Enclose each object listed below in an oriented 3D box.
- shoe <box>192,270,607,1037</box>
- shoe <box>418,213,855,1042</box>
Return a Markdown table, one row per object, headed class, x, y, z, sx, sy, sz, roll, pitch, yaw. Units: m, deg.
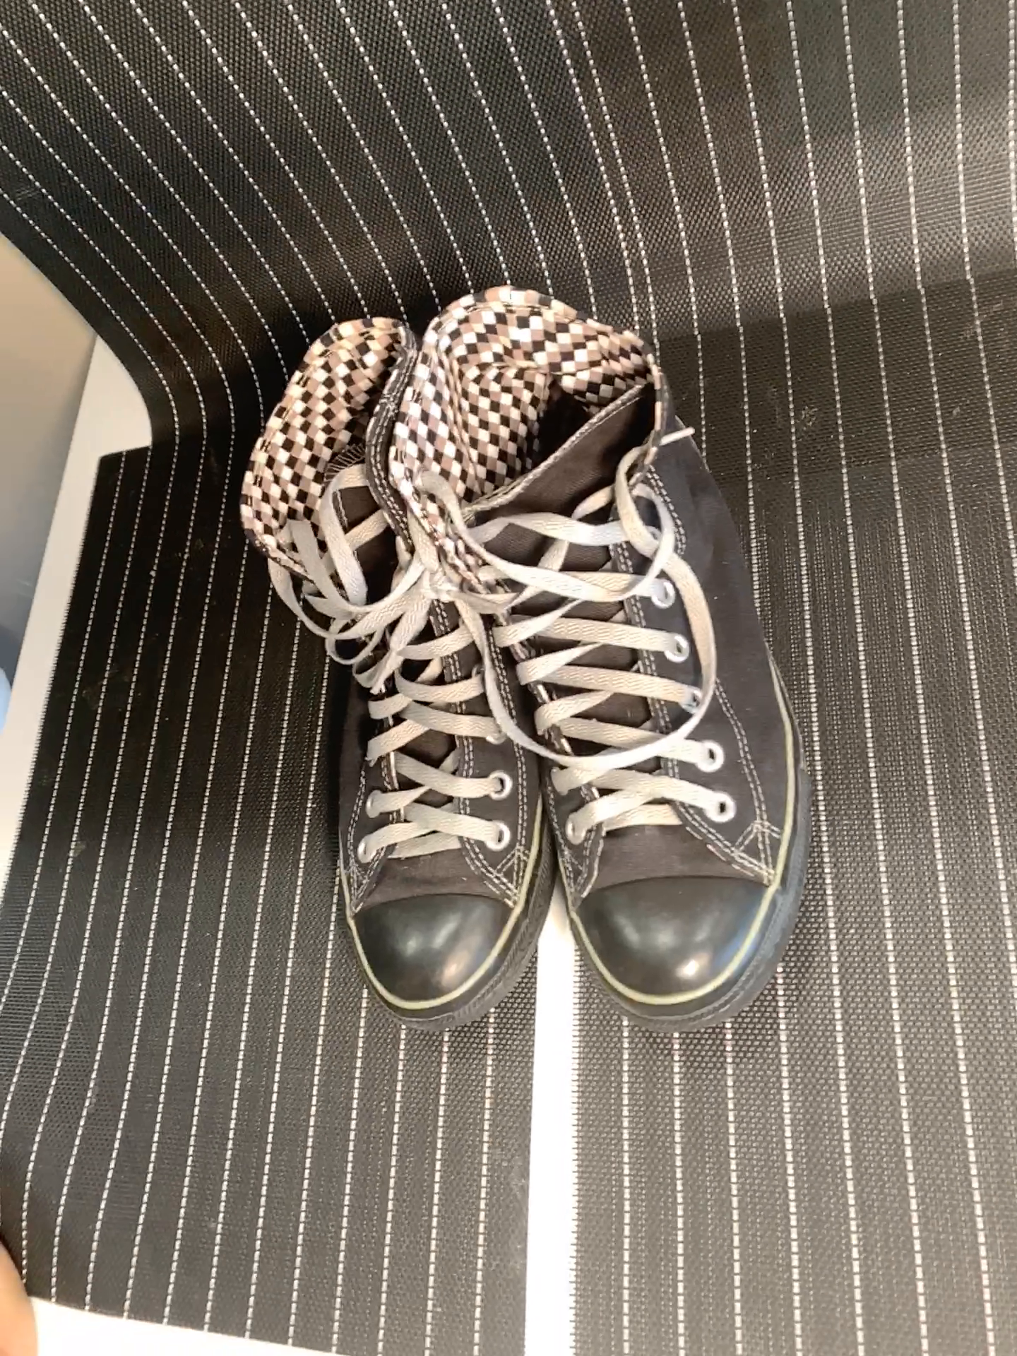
| class | x | y | z | sx | sy | sz | roll | pitch | yaw |
| --- | --- | --- | --- | --- | --- | --- | --- | --- | --- |
| shoe | -0.033 | -0.002 | 0.448 | 0.110 | 0.130 | 0.290 | -8 | 67 | 20 |
| shoe | 0.048 | -0.014 | 0.421 | 0.110 | 0.130 | 0.290 | -13 | 66 | 18 |
